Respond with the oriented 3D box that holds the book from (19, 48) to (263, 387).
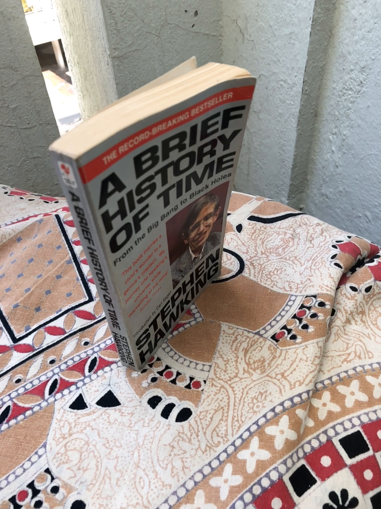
[{"bbox_3d":[-0.013,-0.014,0.259,0.030,0.169,0.130,31,55,28],"label":"book"}]
